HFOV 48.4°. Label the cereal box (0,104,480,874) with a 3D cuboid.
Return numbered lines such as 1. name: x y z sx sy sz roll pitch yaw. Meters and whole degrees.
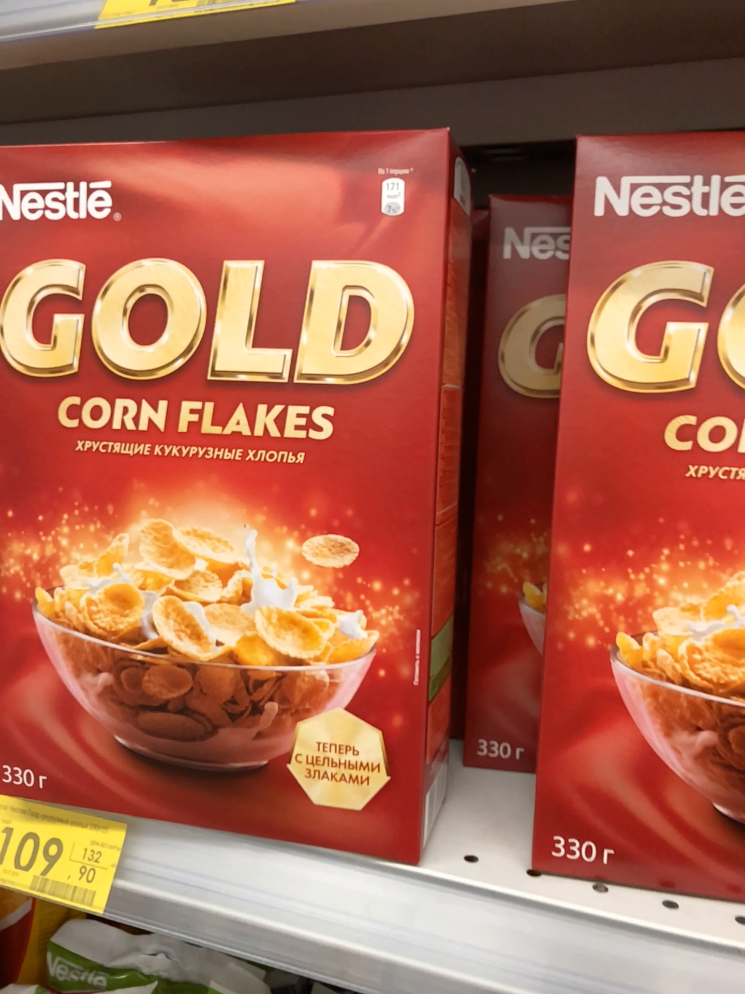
1. cereal box: -0.064 -0.005 0.352 0.200 0.279 0.060 3 7 14
